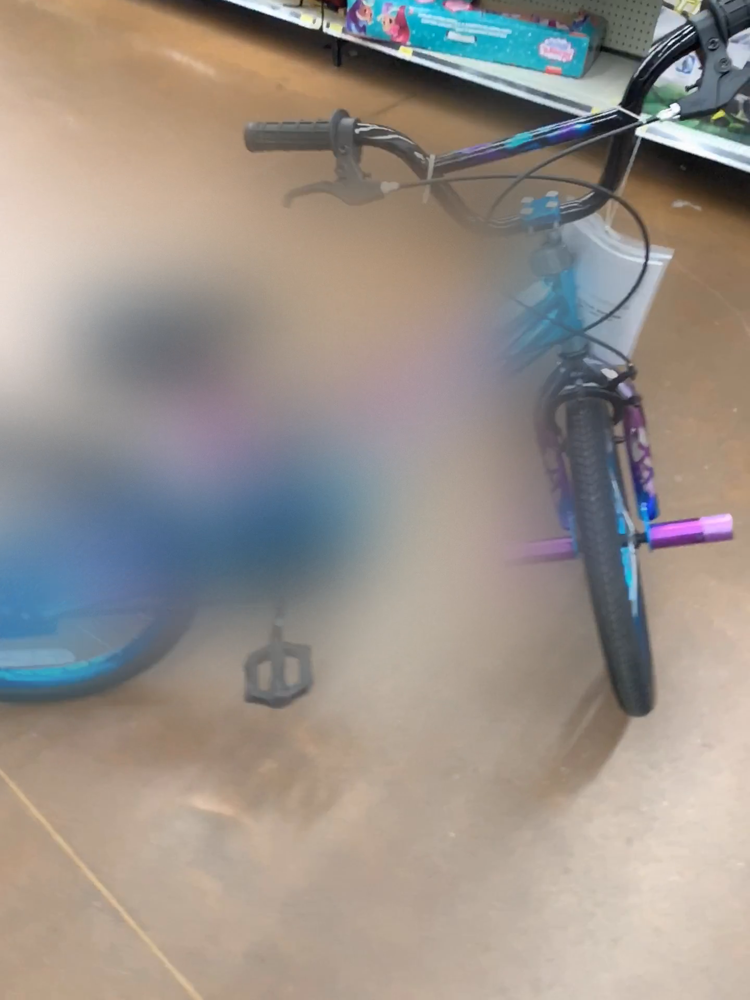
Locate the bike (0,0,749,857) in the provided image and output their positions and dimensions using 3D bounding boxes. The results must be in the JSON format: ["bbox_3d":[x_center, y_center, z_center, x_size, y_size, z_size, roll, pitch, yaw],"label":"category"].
[{"bbox_3d":[-0.162,-0.202,0.996,1.120,0.877,0.622,-12,50,-13],"label":"bike"}]
